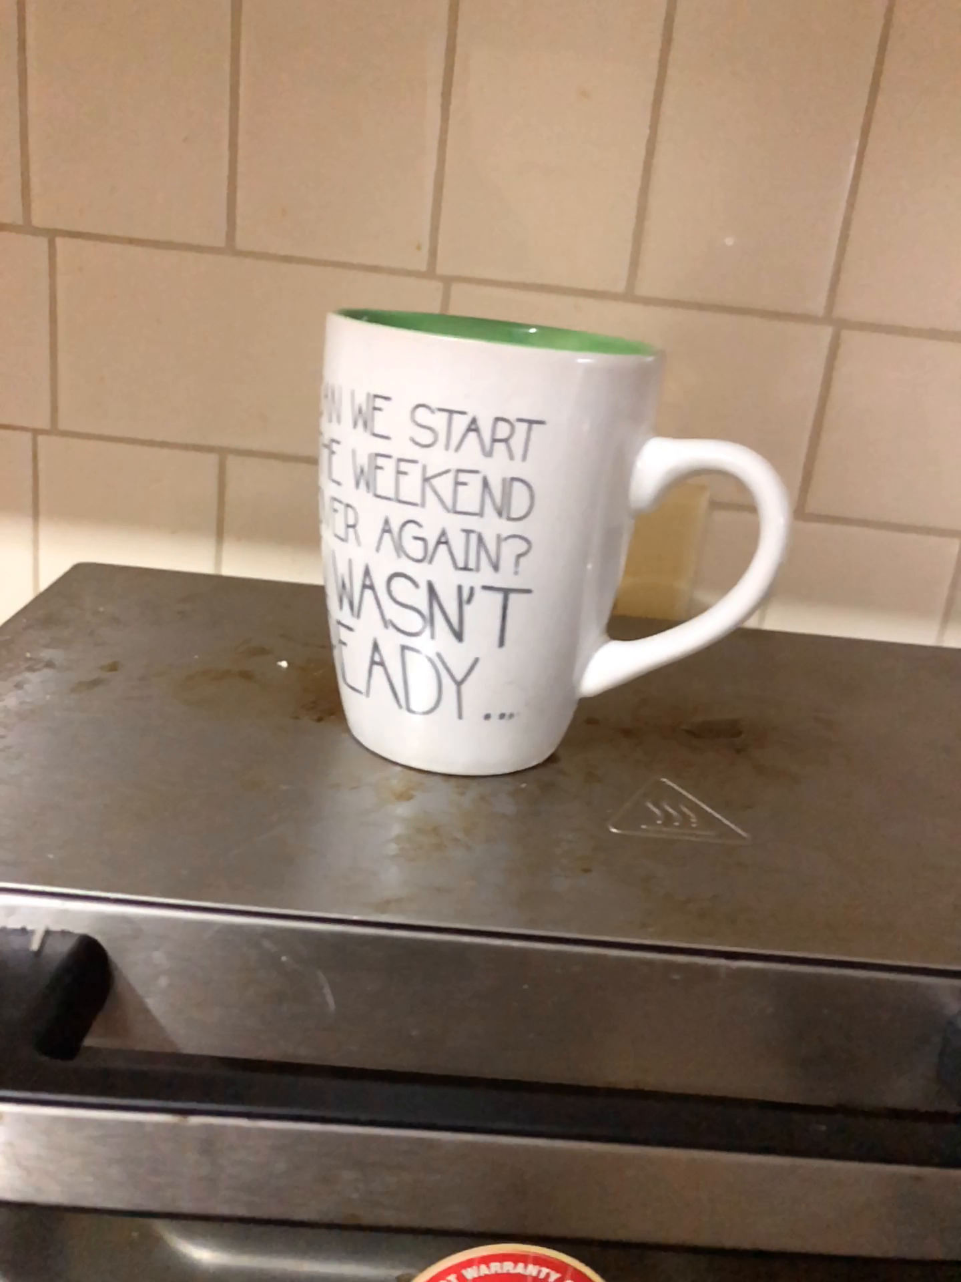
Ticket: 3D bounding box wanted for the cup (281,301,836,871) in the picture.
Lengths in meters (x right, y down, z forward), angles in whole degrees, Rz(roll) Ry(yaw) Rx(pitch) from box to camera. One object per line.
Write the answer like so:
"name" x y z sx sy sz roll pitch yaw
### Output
"cup" 0.019 -0.022 0.271 0.110 0.110 0.070 13 19 19
